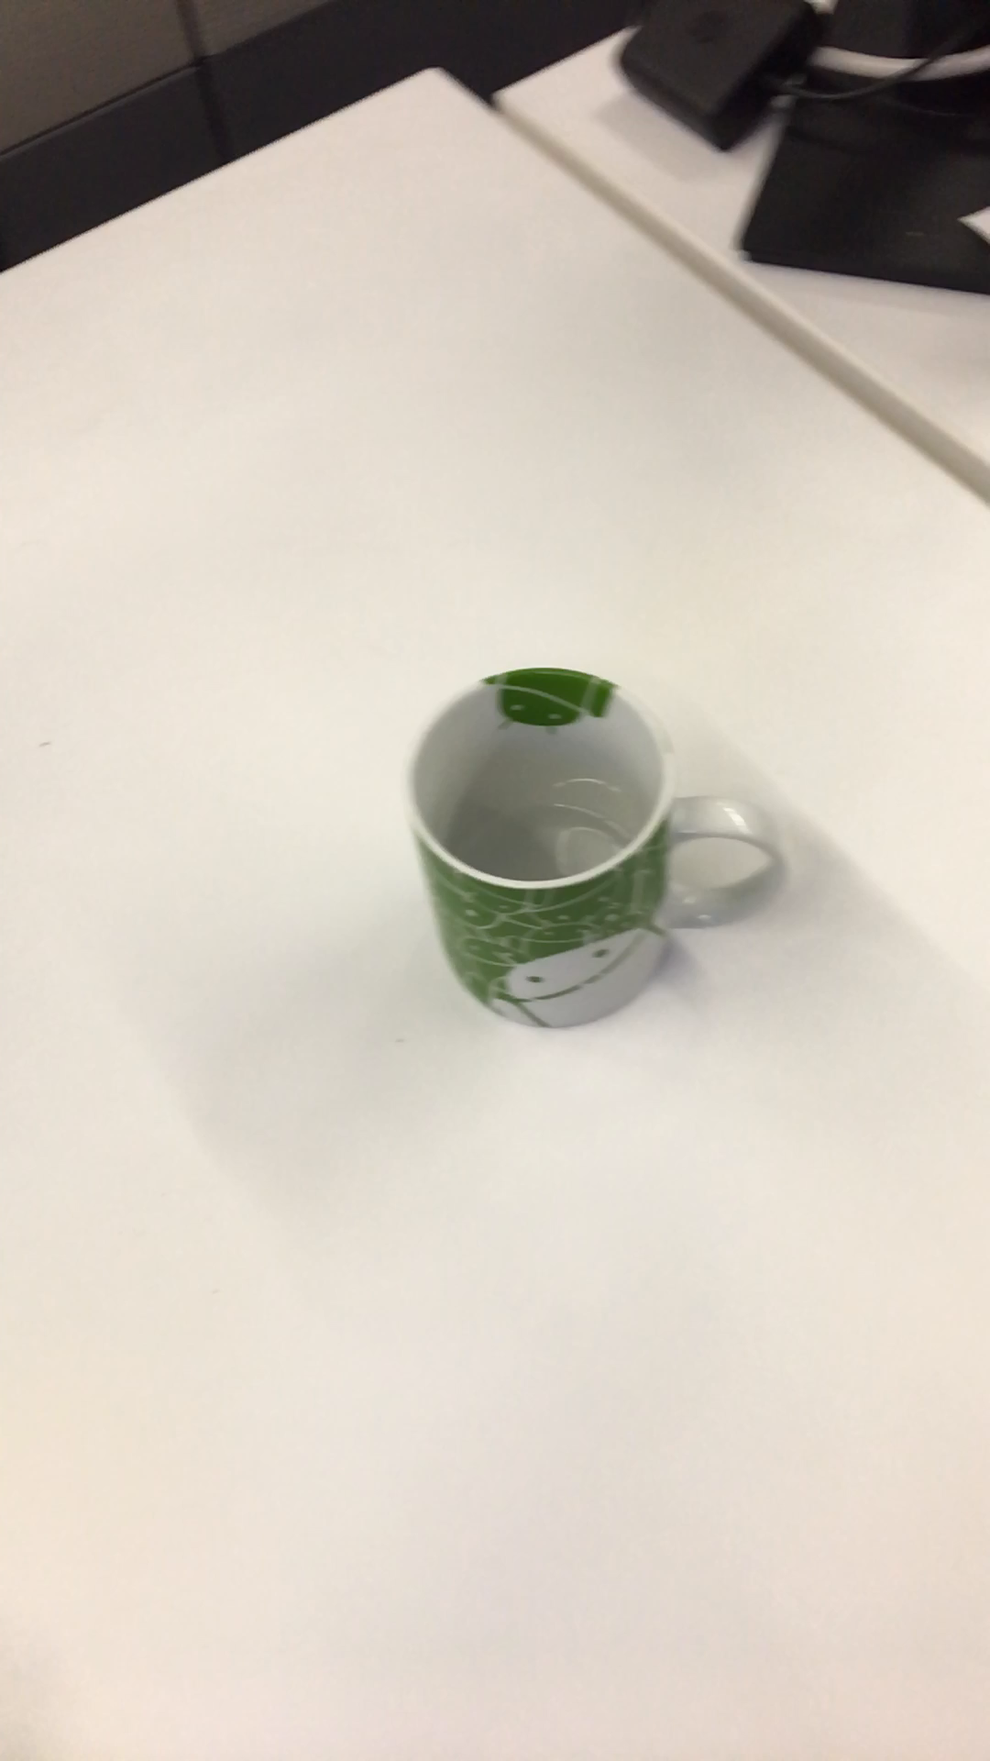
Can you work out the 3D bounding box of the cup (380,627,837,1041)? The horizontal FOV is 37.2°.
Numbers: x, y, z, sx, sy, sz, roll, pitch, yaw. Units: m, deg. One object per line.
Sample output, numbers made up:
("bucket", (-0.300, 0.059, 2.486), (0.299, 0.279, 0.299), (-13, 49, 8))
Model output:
("cup", (0.034, -0.011, 0.449), (0.120, 0.090, 0.090), (-1, 59, 5))
